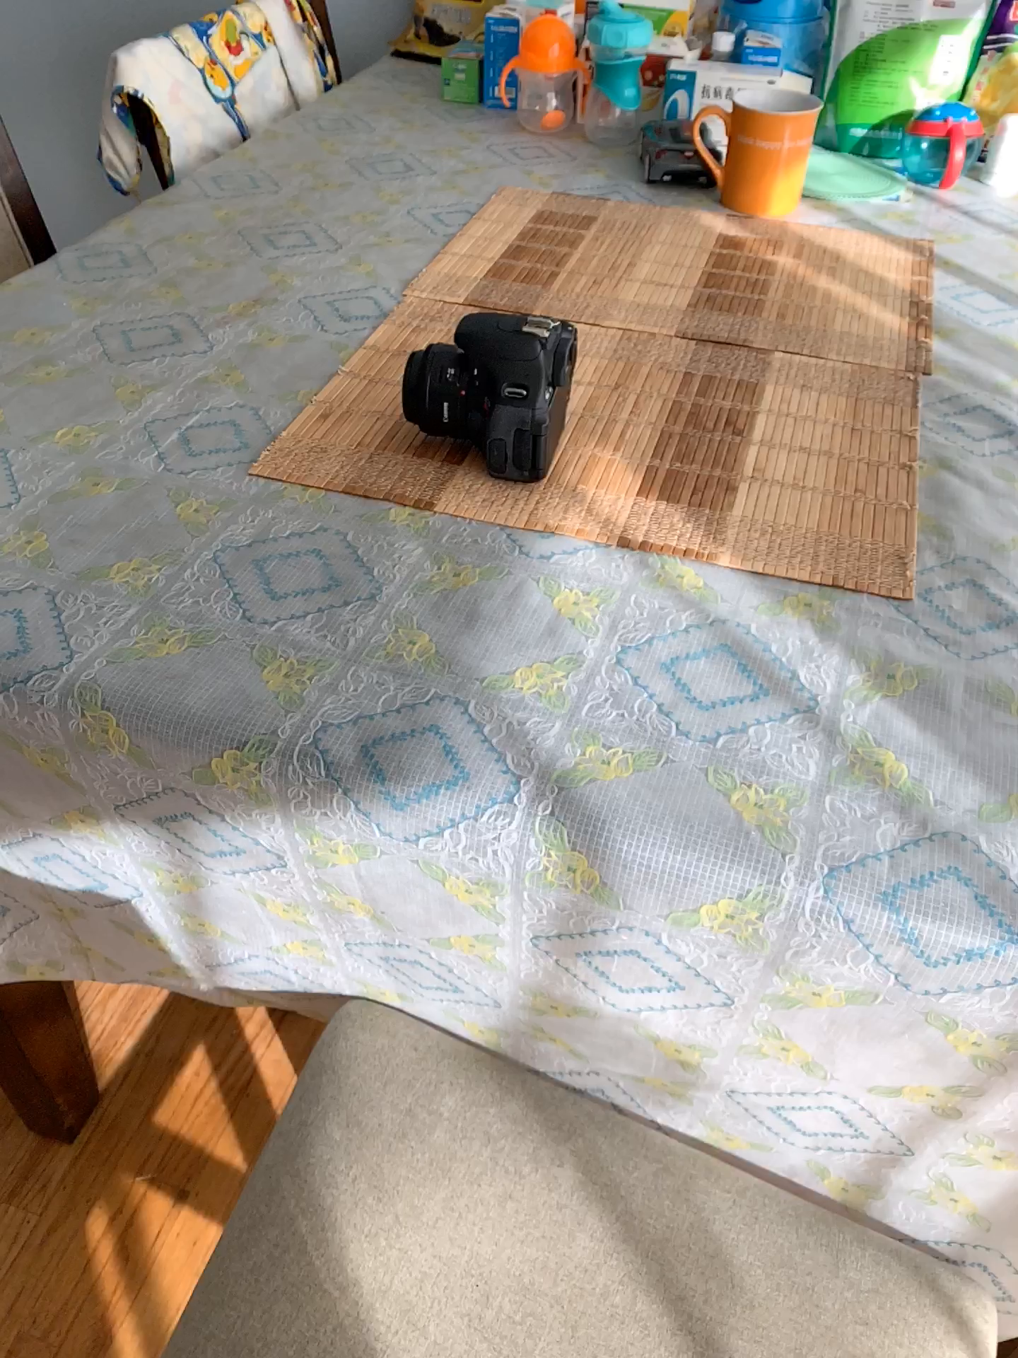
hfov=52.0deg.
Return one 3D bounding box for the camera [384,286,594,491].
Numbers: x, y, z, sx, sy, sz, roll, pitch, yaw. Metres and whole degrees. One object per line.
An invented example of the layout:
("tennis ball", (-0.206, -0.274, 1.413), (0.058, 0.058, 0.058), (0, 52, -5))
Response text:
("camera", (-0.013, -0.212, 0.759), (0.125, 0.092, 0.100), (11, 44, 9))
